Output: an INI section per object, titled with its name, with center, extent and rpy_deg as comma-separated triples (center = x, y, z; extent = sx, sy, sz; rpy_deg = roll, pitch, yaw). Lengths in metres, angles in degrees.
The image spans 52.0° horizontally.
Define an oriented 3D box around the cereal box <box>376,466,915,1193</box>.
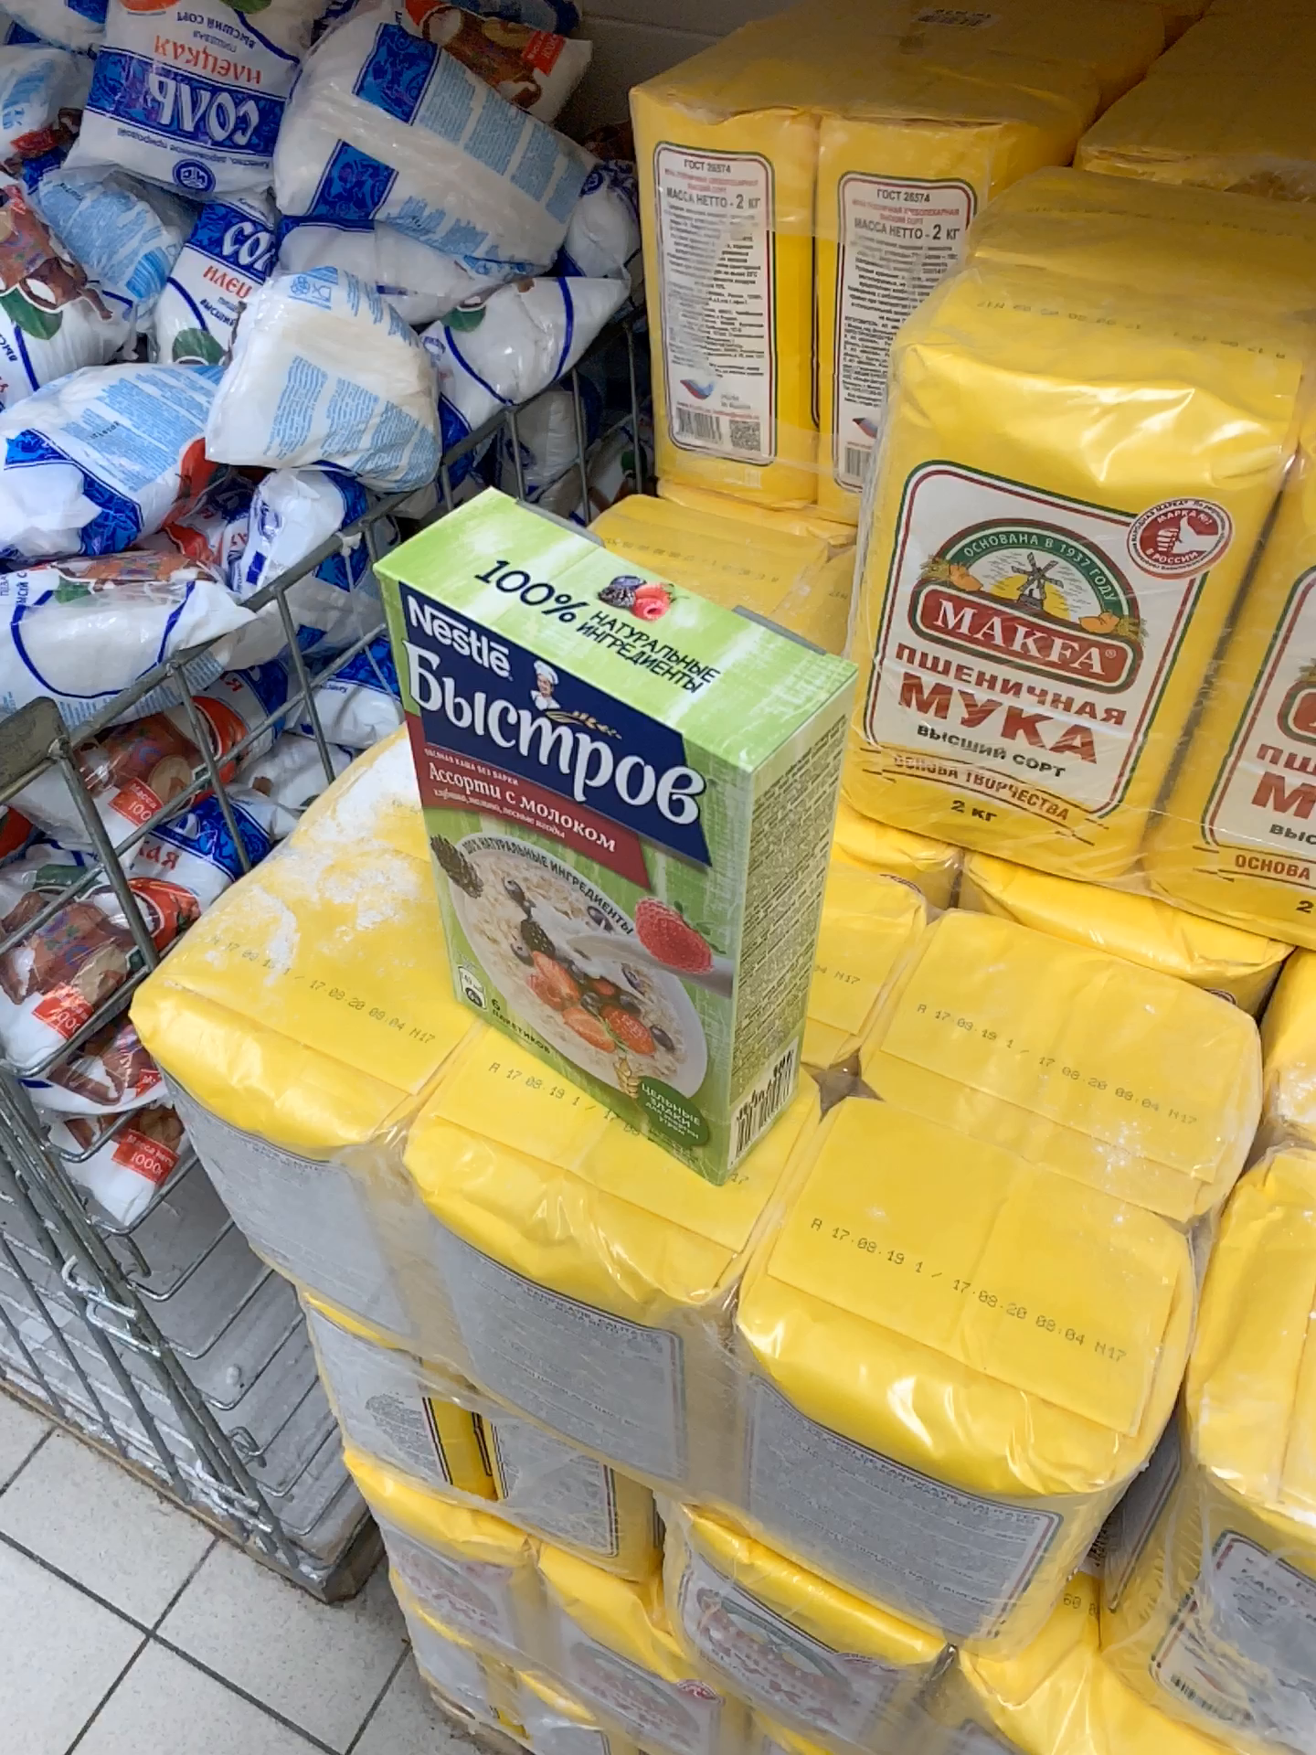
[cereal box]
center = -0.004, -0.005, 0.379
extent = 0.120, 0.178, 0.050
rpy_deg = 32, 58, 25
